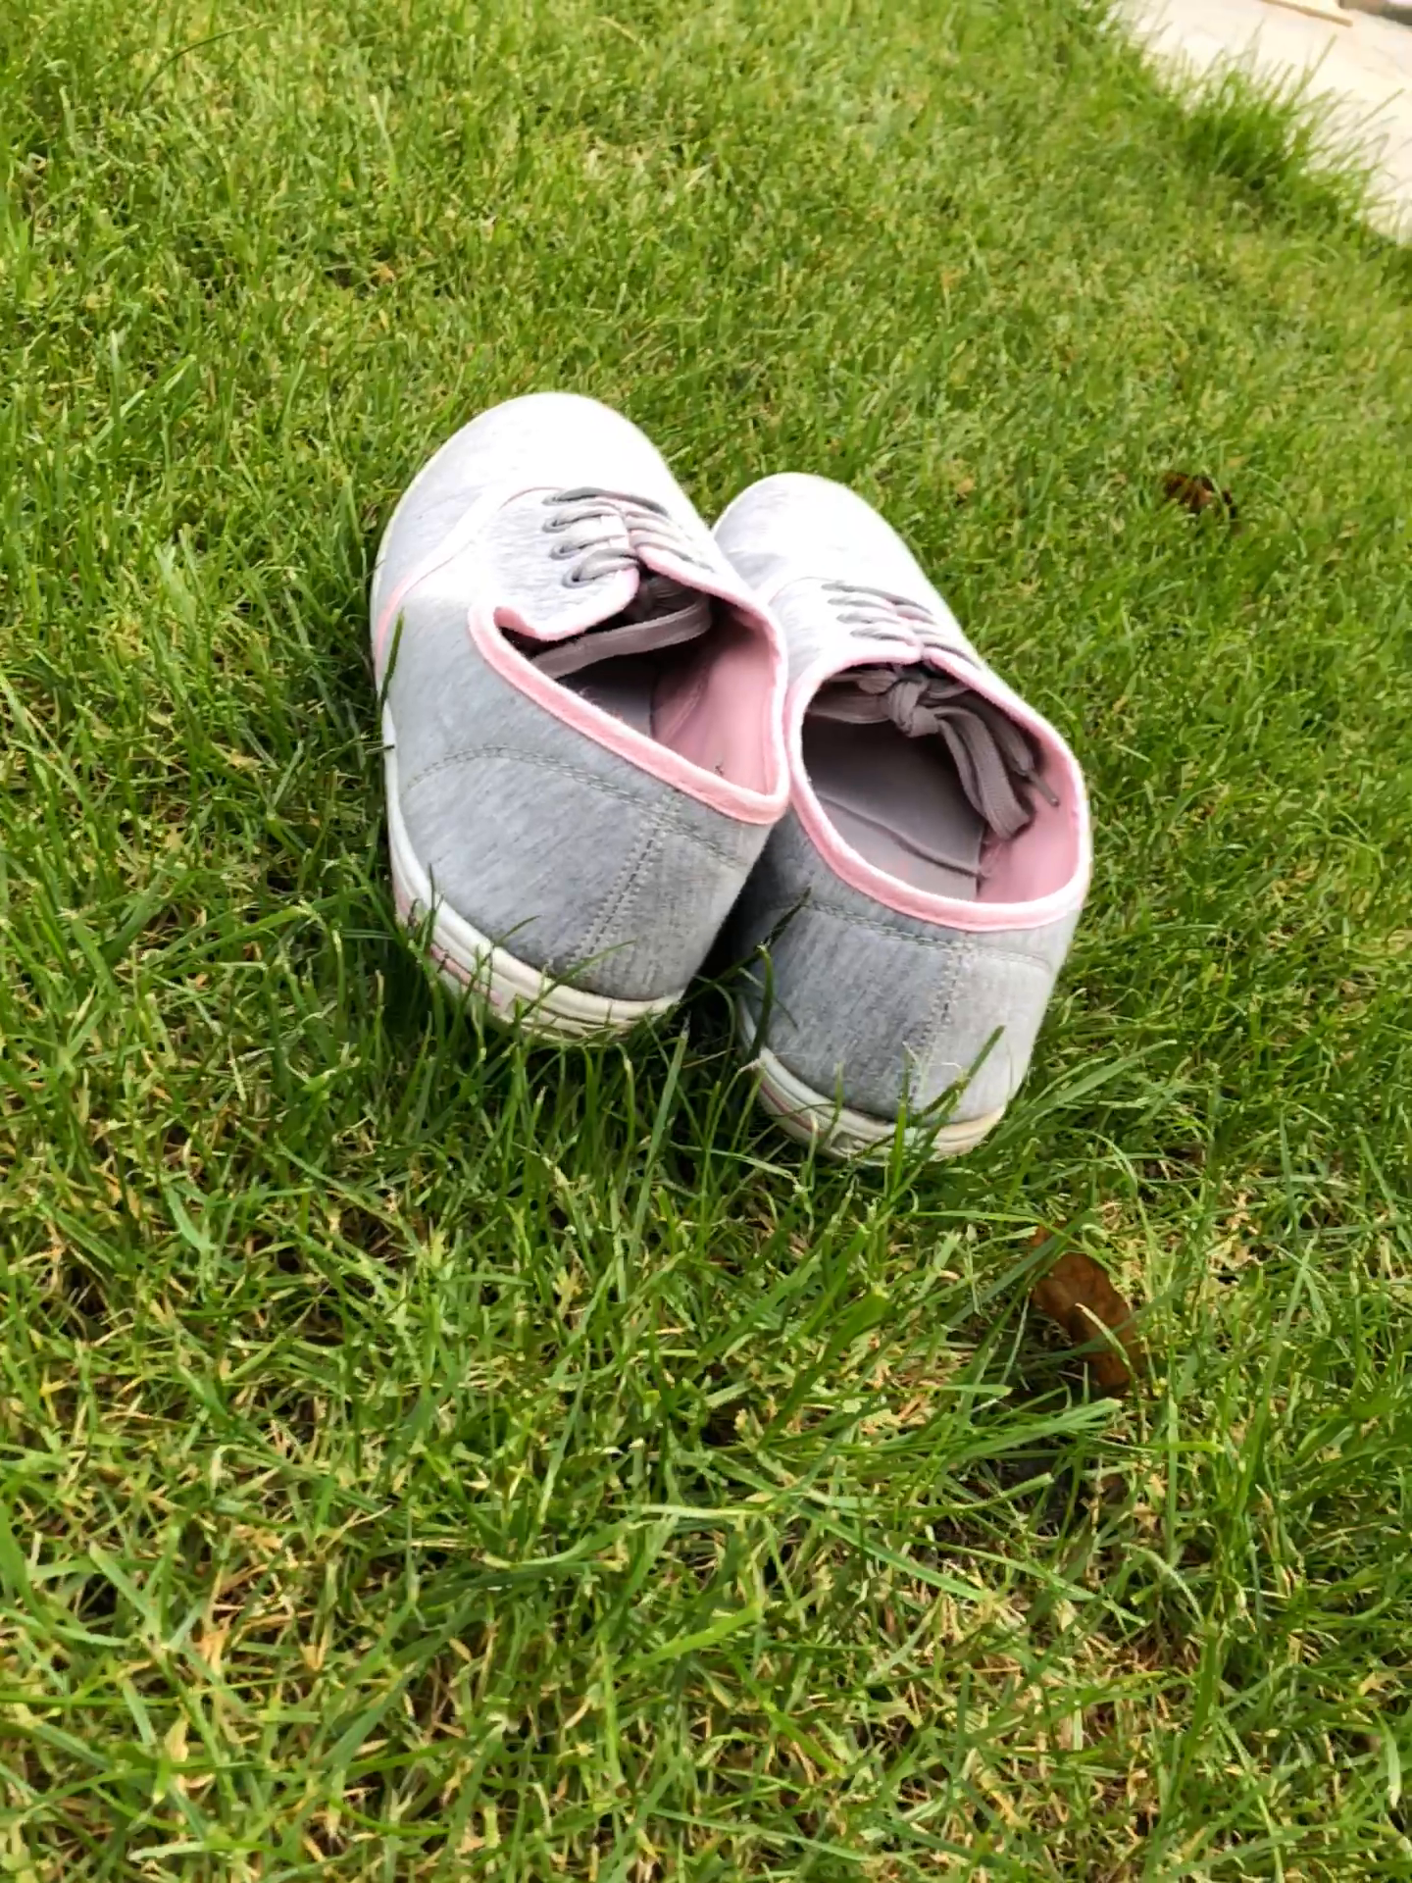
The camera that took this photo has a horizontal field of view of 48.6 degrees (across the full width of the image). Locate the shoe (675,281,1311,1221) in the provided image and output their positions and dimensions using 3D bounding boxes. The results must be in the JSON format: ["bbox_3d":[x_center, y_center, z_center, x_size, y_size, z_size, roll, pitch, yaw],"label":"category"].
[{"bbox_3d":[0.057,-0.066,0.428,0.100,0.089,0.262,12,44,-16],"label":"shoe"}]

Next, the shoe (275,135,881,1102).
[{"bbox_3d":[-0.034,-0.098,0.403,0.100,0.089,0.262,12,44,-16],"label":"shoe"}]
